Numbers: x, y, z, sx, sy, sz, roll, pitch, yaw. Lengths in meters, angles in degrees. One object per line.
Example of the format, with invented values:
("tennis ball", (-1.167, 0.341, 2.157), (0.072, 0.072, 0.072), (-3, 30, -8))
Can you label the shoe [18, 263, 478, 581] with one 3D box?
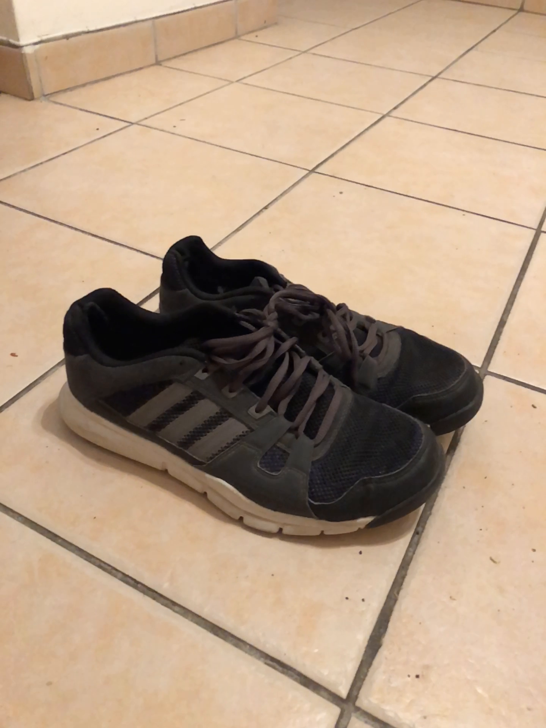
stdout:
("shoe", (-0.017, 0.027, 0.421), (0.280, 0.099, 0.111), (16, 37, 14))

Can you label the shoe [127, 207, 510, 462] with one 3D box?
("shoe", (0.037, -0.035, 0.505), (0.280, 0.099, 0.121), (16, 40, 14))
